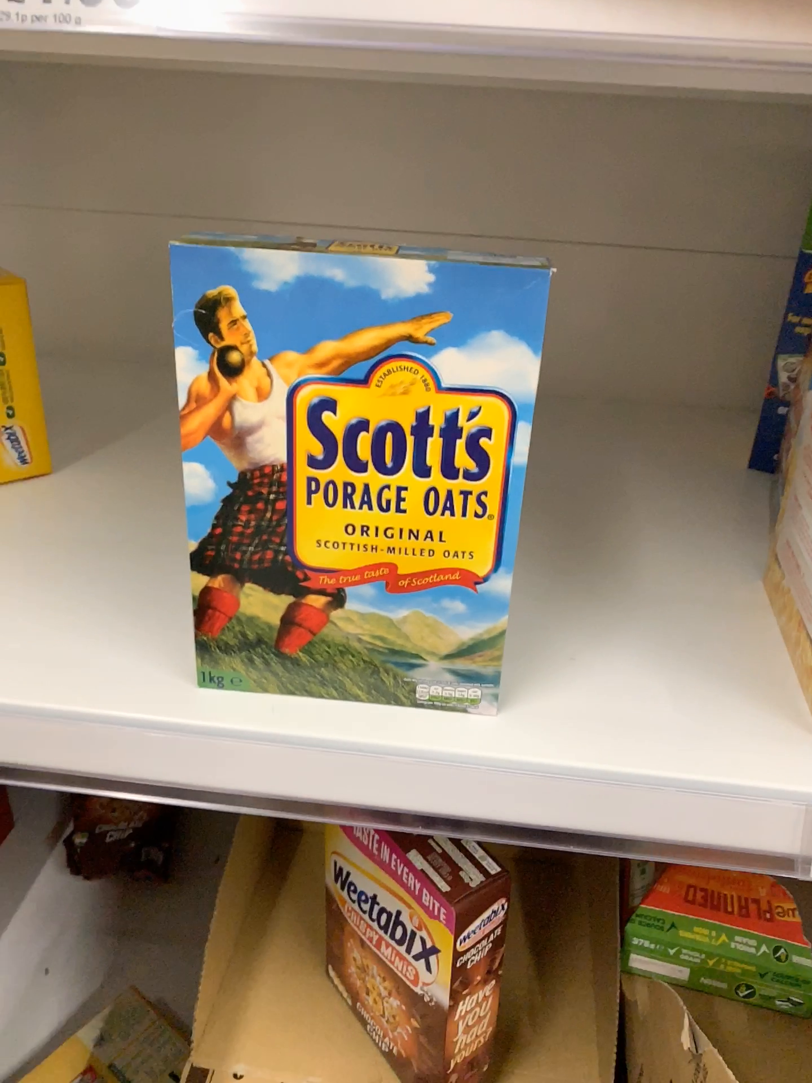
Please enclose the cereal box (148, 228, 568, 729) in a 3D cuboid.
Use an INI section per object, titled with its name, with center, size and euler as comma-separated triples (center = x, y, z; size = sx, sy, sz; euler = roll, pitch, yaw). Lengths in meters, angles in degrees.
[cereal box]
center = -0.028, -0.030, 0.485
size = 0.200, 0.268, 0.071
euler = 5, 27, 3
